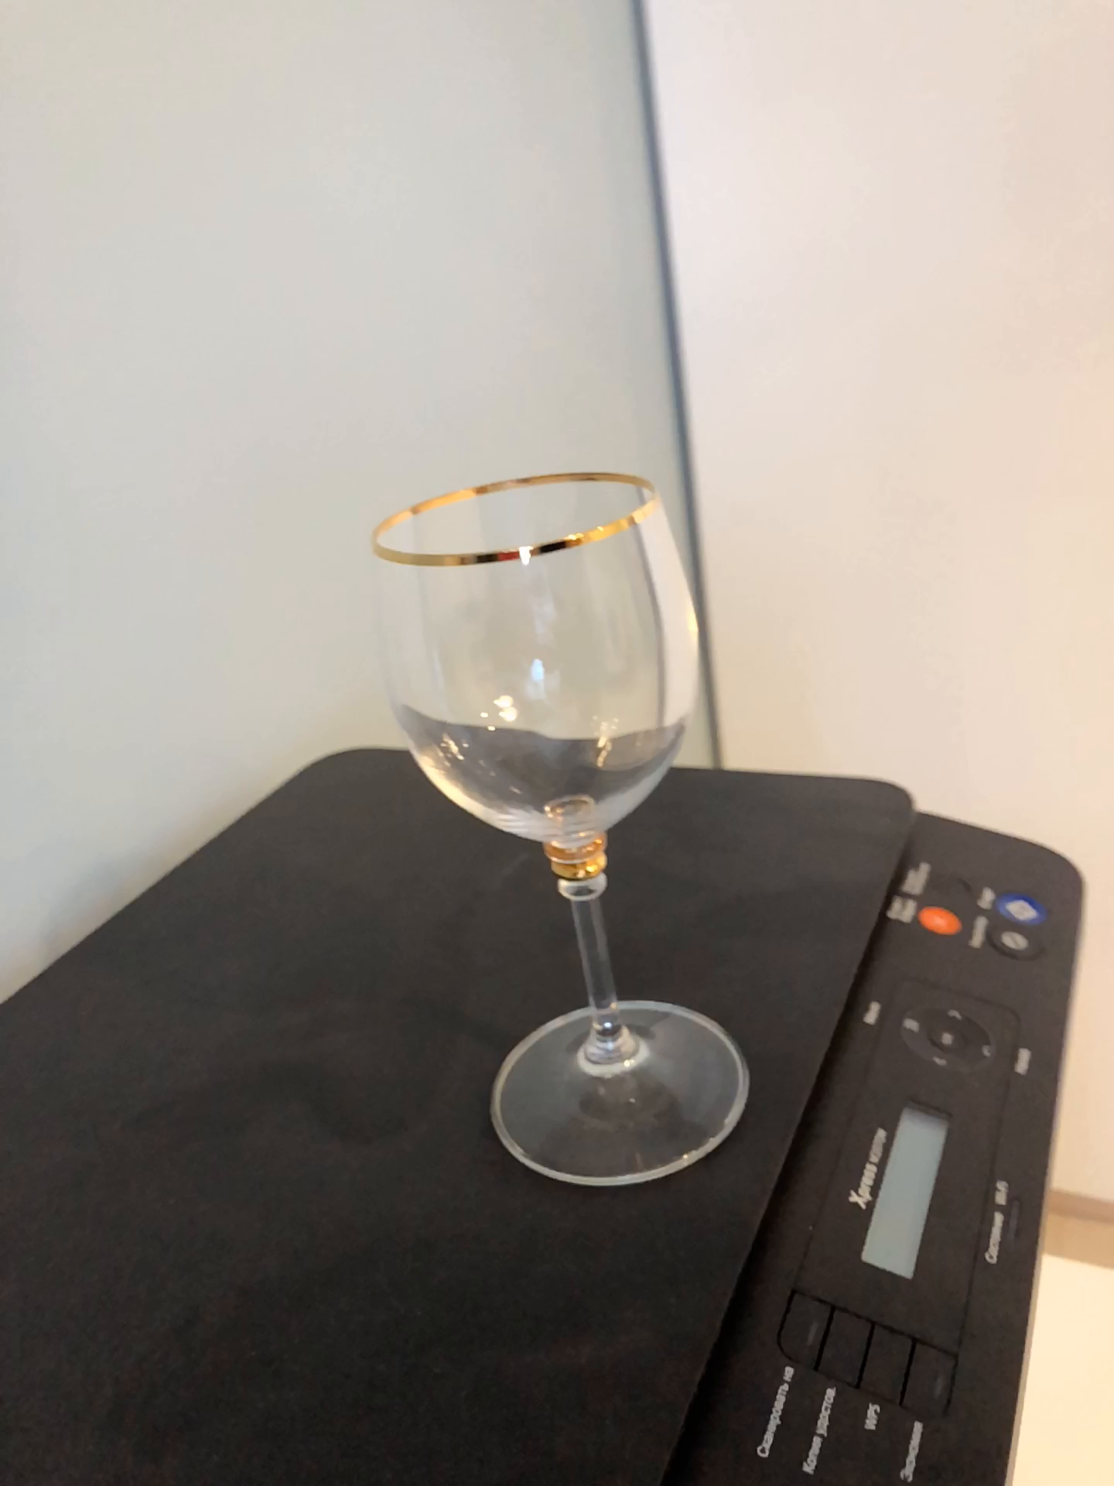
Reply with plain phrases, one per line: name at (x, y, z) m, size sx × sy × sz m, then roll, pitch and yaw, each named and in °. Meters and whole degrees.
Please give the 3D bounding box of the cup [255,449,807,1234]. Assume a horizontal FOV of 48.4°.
cup at (0.003, 0.023, 0.334) m, size 0.086 × 0.177 × 0.087 m, roll -10°, pitch 23°, yaw 4°
